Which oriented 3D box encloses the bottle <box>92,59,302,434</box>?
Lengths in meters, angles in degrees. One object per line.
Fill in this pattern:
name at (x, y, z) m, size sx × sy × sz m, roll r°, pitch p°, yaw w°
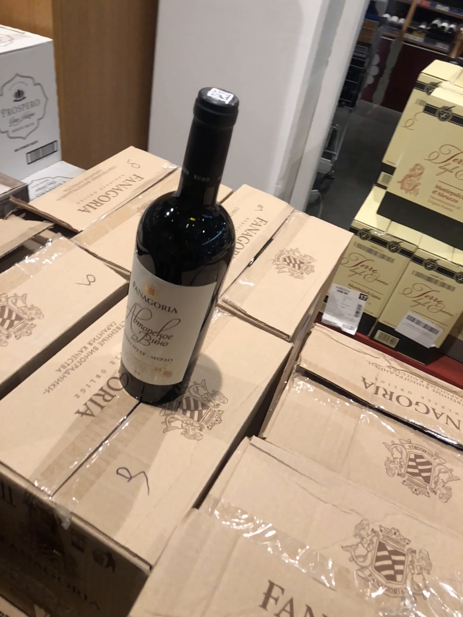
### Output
bottle at (-0.047, -0.035, 0.448) m, size 0.100 × 0.308 × 0.091 m, roll 31°, pitch 42°, yaw 16°
